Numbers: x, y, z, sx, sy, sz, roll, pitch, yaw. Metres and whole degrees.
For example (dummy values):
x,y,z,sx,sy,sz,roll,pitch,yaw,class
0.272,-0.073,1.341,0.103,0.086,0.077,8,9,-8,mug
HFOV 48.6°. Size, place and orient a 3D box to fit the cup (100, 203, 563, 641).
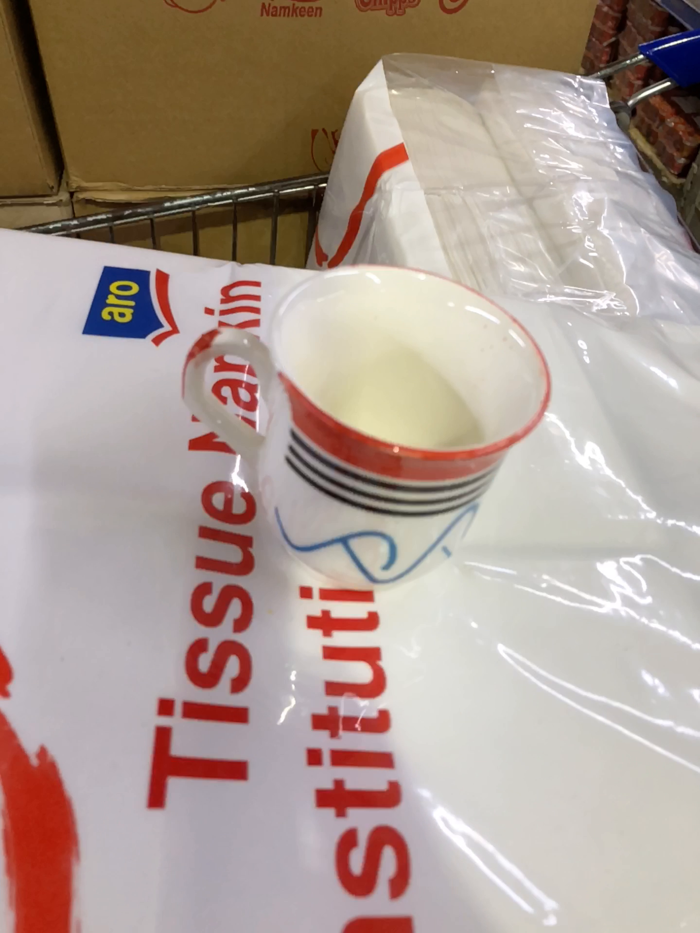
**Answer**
x,y,z,sx,sy,sz,roll,pitch,yaw,class
-0.003,-0.011,0.193,0.090,0.060,0.070,12,49,-2,cup
